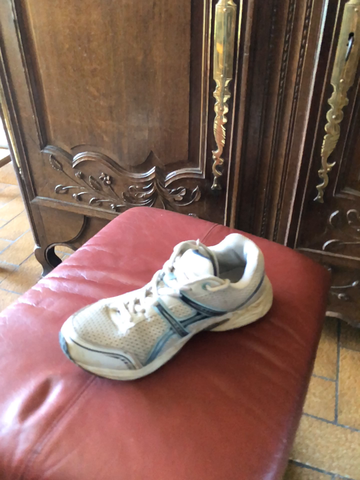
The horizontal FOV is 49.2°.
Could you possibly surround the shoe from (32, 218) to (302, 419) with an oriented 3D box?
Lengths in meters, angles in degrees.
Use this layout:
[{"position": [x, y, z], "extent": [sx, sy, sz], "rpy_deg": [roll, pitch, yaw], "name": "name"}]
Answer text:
[{"position": [-0.010, 0.071, 0.451], "extent": [0.271, 0.080, 0.120], "rpy_deg": [-18, 37, -24], "name": "shoe"}]
